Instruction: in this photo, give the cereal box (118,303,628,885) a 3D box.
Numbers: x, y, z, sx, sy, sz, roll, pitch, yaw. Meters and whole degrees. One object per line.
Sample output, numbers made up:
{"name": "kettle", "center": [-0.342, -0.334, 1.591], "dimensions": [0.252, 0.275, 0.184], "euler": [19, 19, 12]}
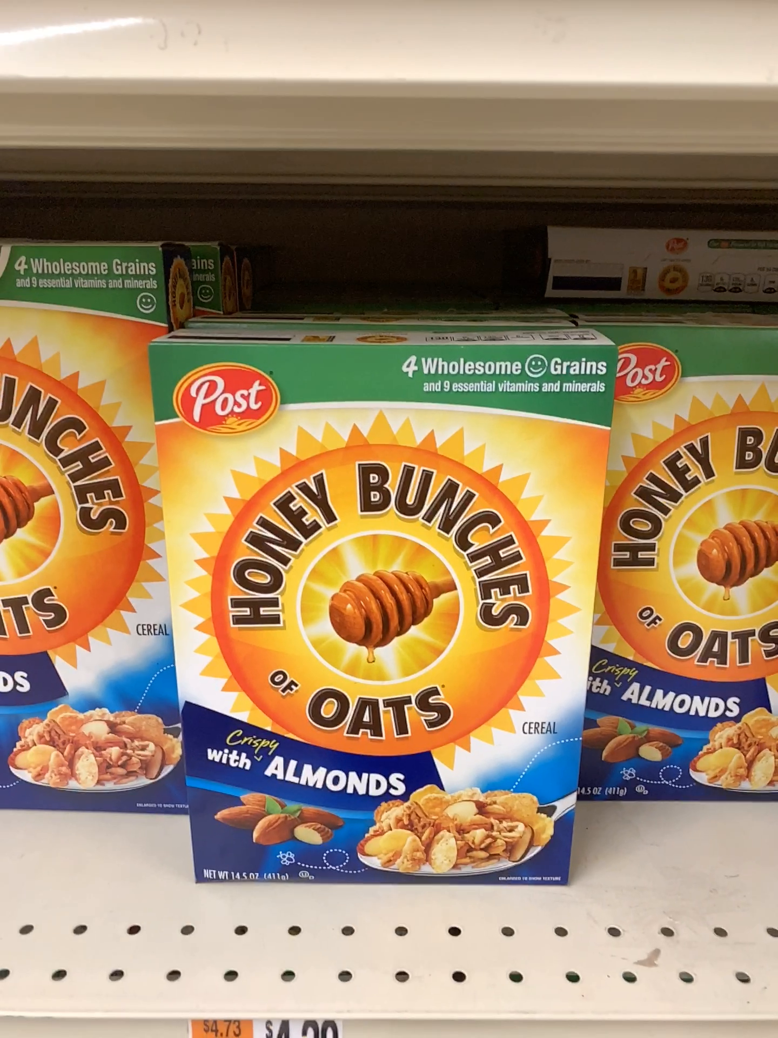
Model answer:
{"name": "cereal box", "center": [-0.007, 0.042, 0.387], "dimensions": [0.200, 0.279, 0.060], "euler": [0, 19, 0]}
